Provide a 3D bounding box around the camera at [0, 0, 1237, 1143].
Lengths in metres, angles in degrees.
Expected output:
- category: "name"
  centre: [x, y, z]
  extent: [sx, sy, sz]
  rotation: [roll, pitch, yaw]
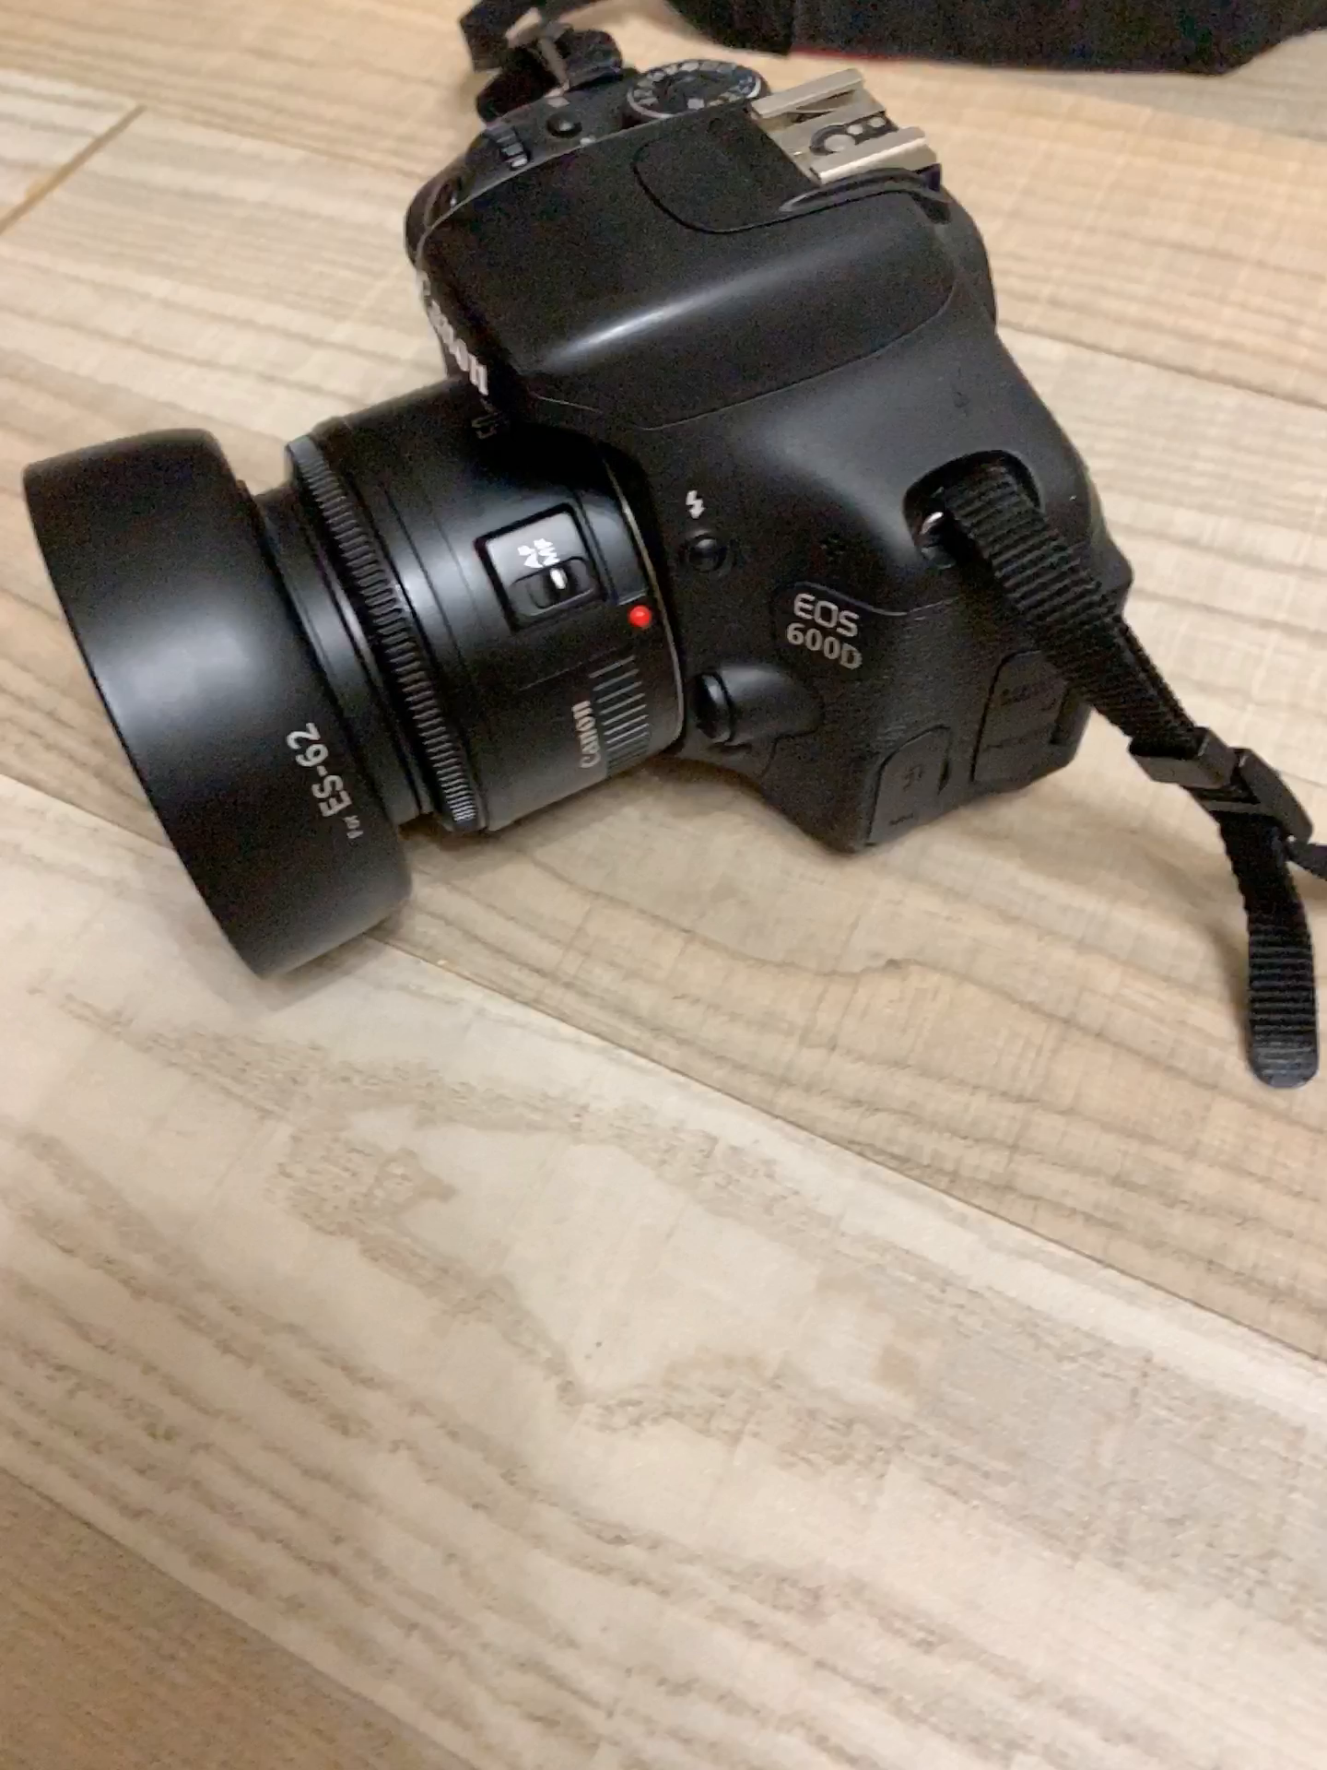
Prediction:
- category: "camera"
  centre: [-0.026, -0.065, 0.224]
  extent: [0.150, 0.089, 0.139]
  rotation: [-23, 60, -9]
